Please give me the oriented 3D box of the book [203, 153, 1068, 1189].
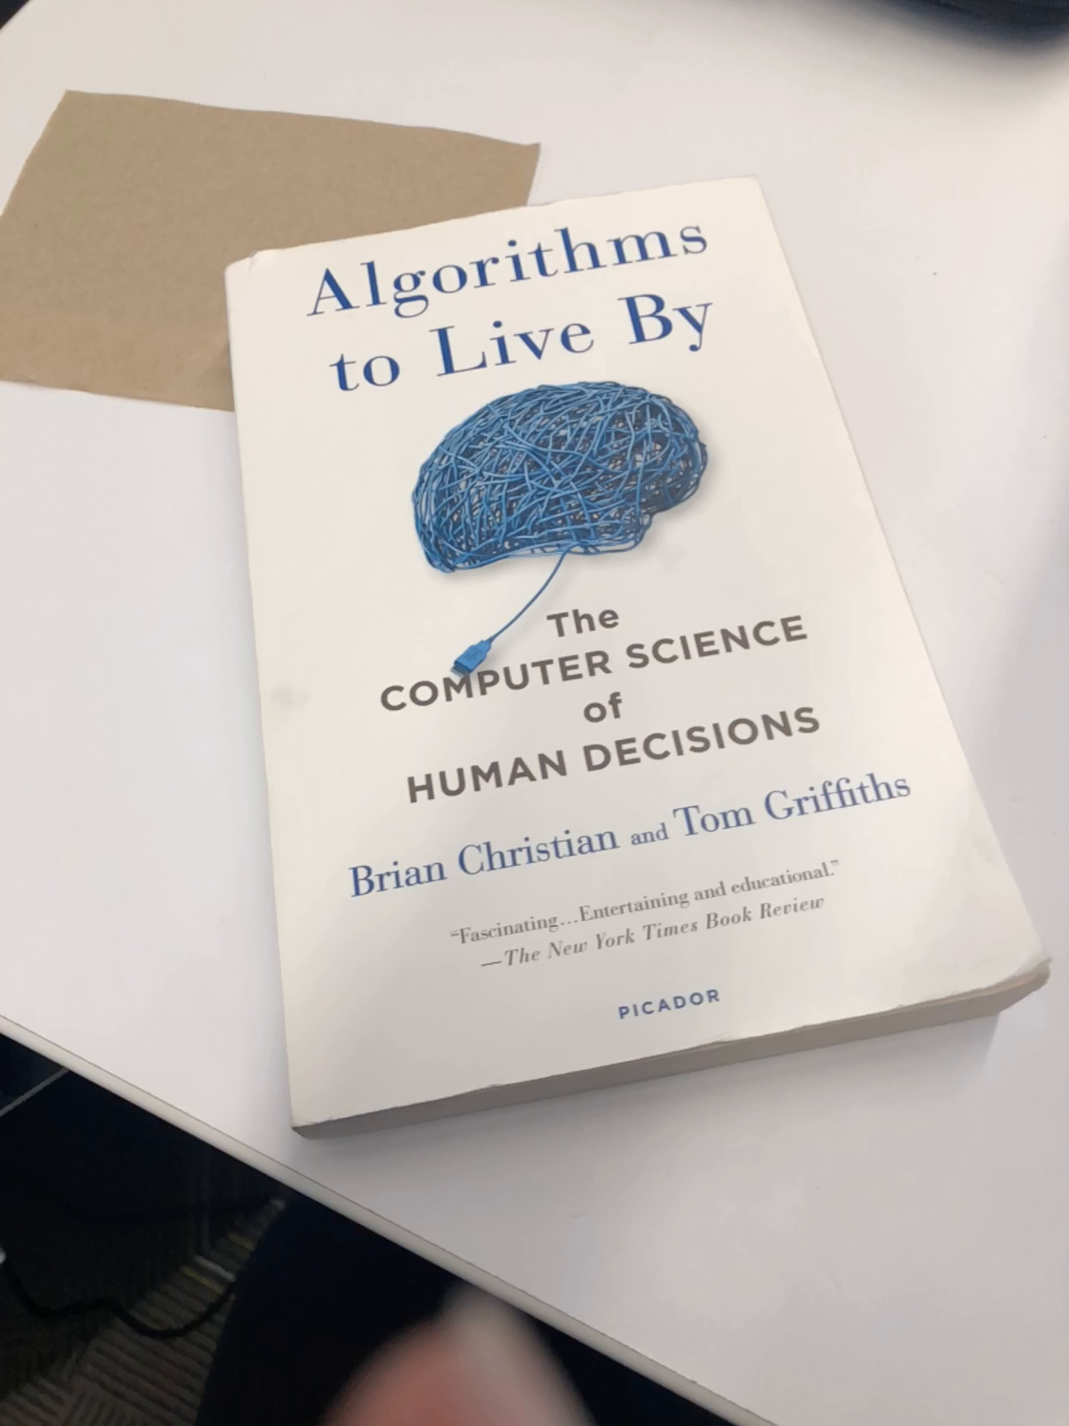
[{"bbox_3d":[0.015,-0.024,0.275,0.160,0.040,0.220,-10,64,-2],"label":"book"}]
